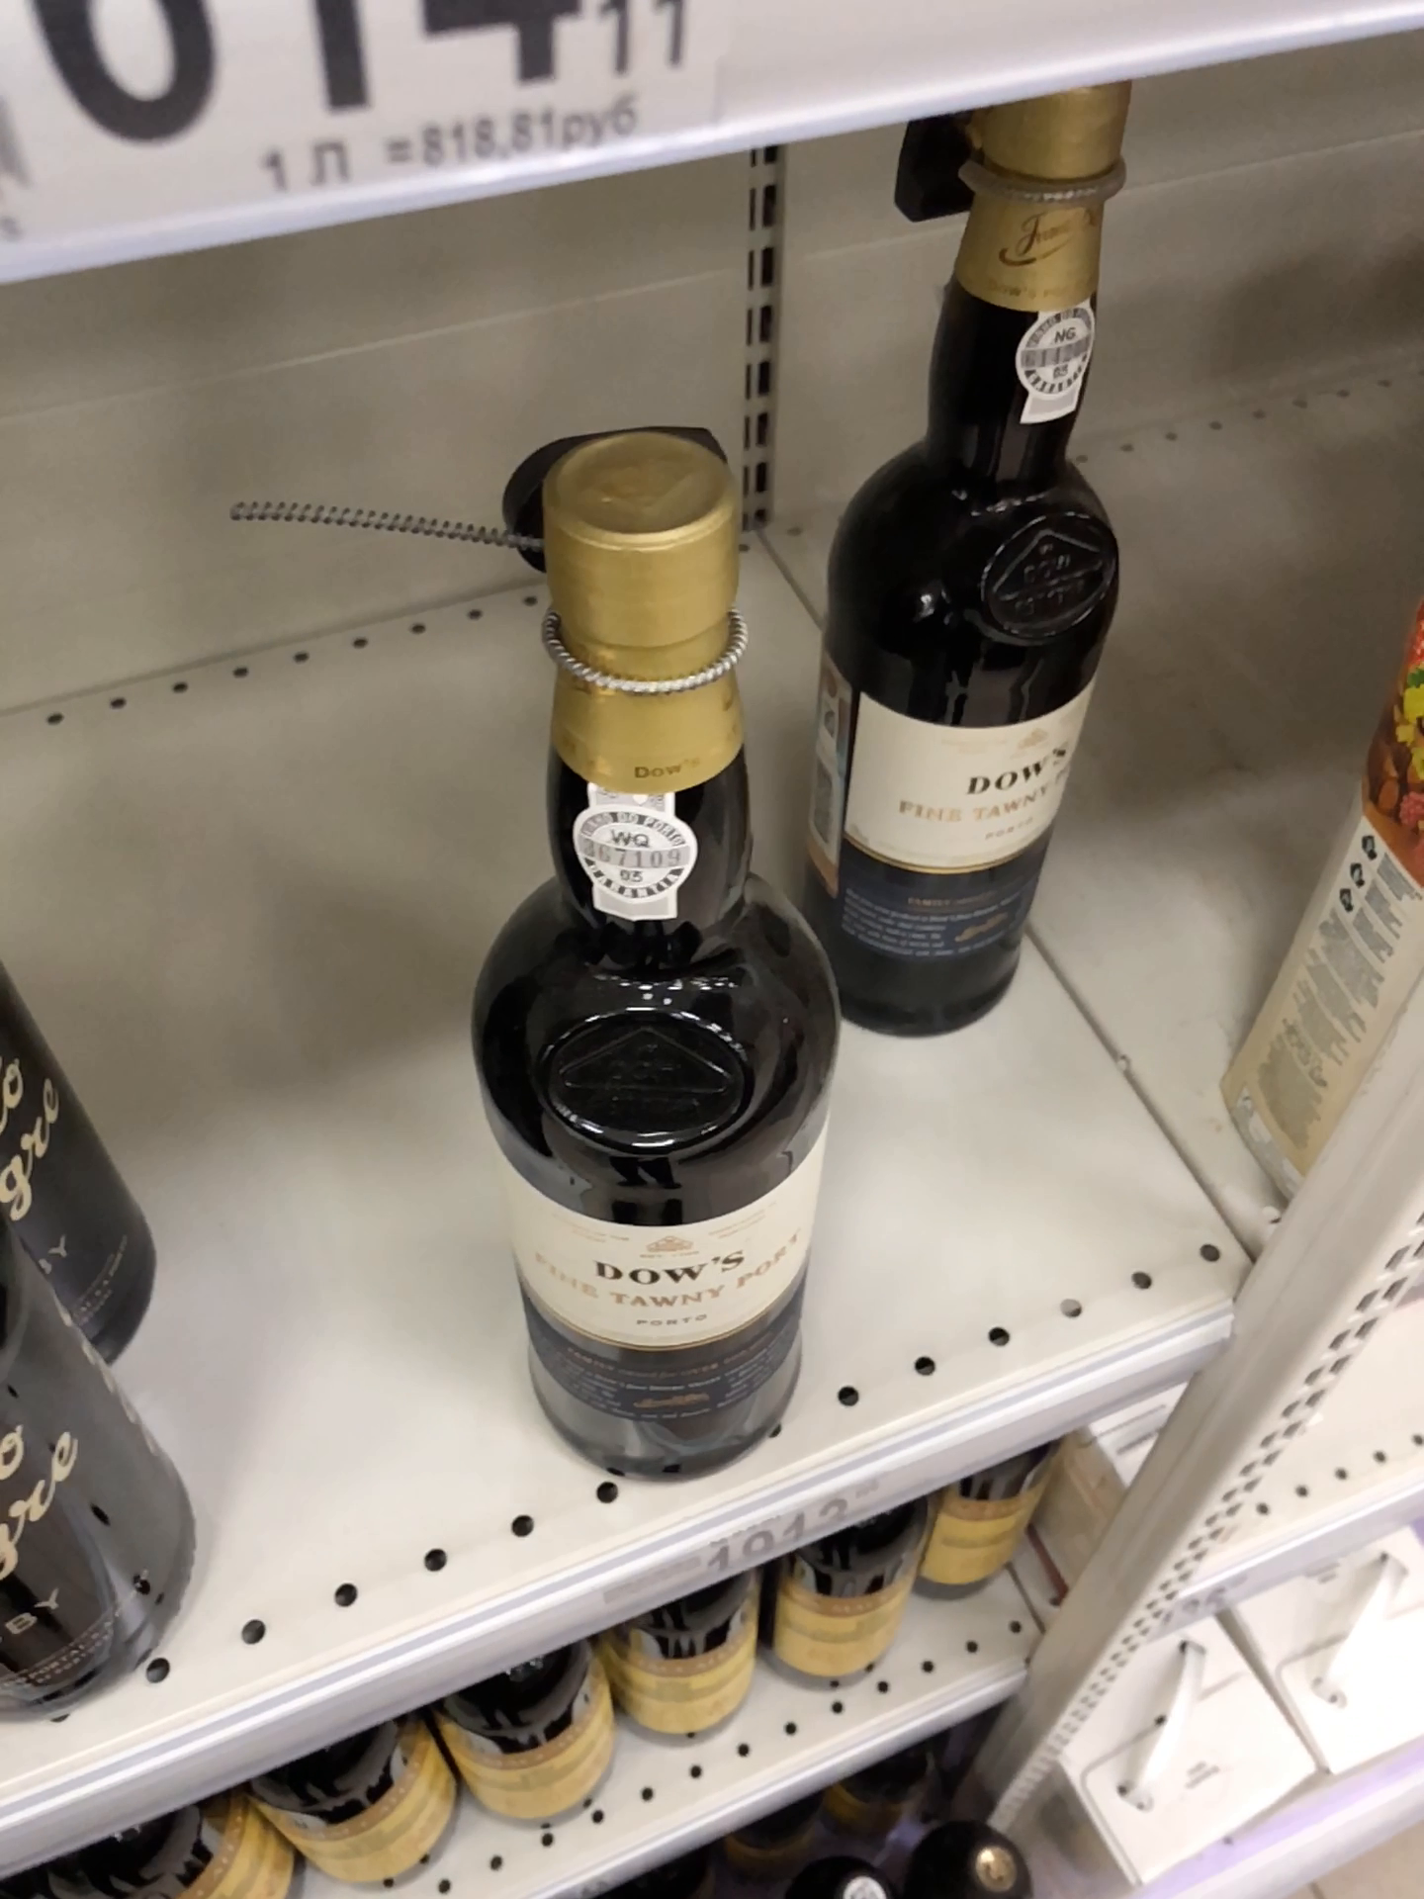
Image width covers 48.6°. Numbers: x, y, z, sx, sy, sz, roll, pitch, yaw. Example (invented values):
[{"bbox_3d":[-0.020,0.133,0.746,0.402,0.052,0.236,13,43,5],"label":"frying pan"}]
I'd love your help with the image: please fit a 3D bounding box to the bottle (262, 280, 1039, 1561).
[{"bbox_3d":[-0.014,0.026,0.343,0.090,0.296,0.090,0,51,0],"label":"bottle"}]
